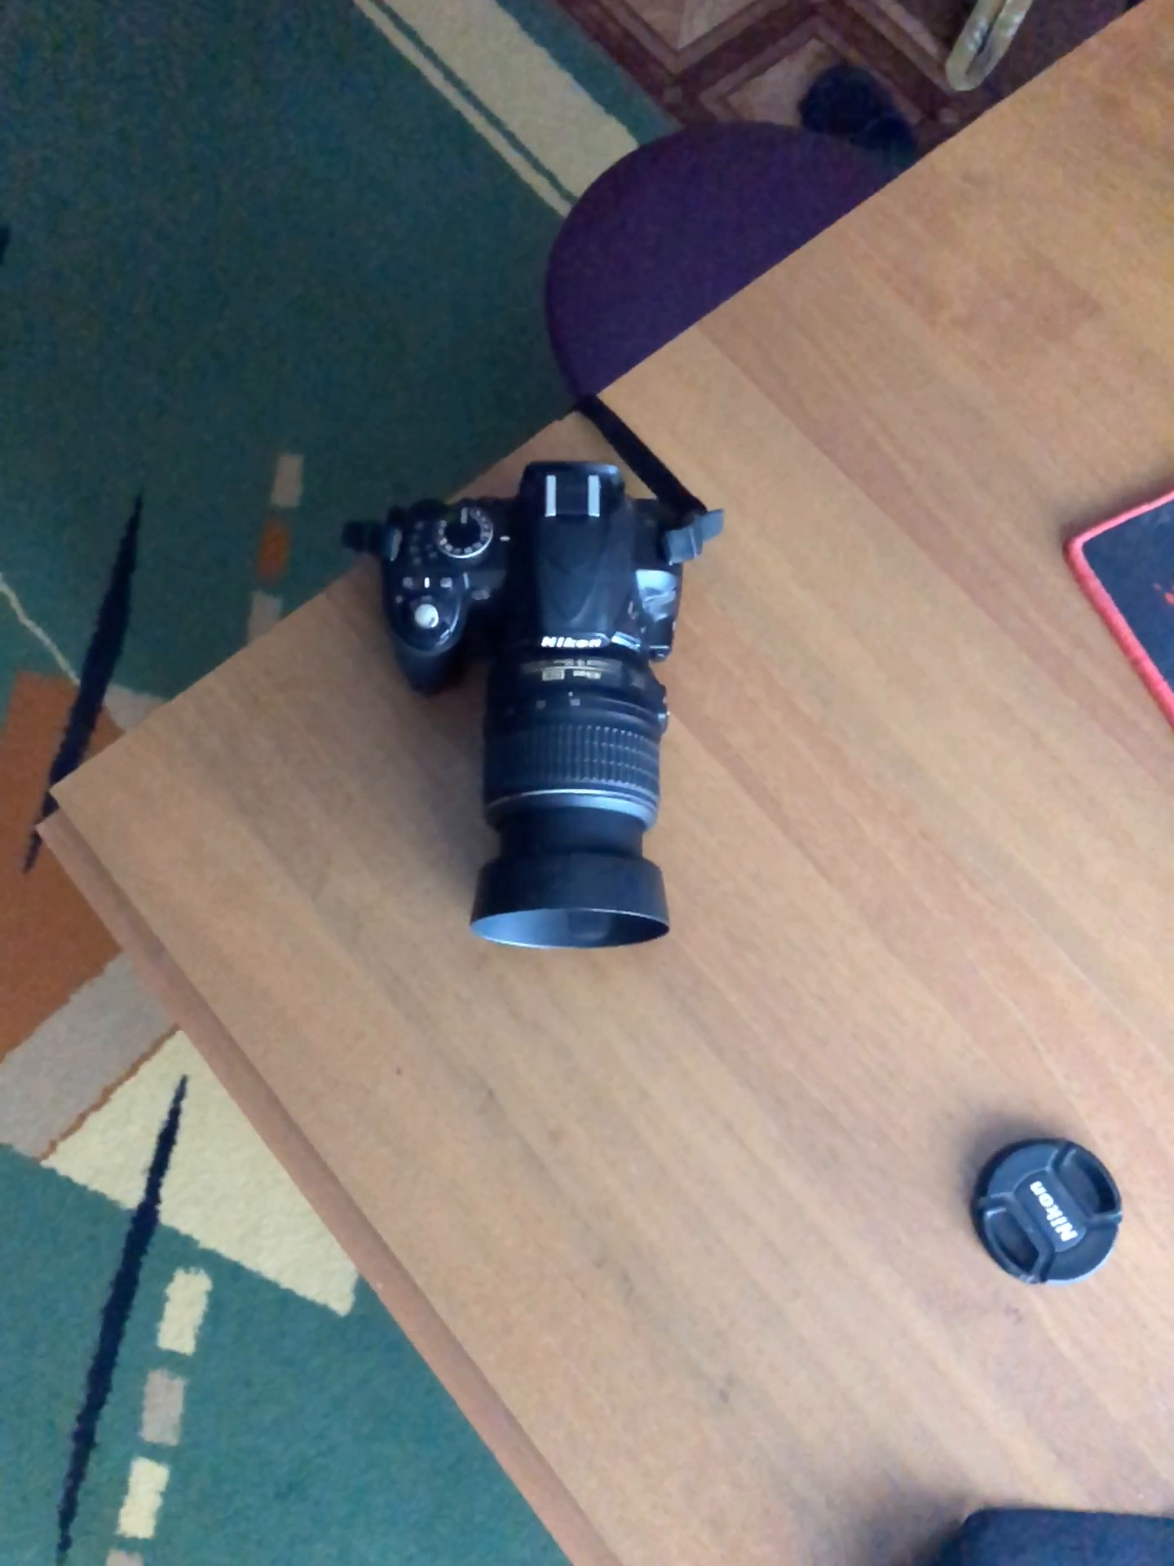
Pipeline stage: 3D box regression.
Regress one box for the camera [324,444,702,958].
[{"bbox_3d":[-0.024,-0.030,0.531,0.129,0.092,0.183,3,74,1],"label":"camera"}]
